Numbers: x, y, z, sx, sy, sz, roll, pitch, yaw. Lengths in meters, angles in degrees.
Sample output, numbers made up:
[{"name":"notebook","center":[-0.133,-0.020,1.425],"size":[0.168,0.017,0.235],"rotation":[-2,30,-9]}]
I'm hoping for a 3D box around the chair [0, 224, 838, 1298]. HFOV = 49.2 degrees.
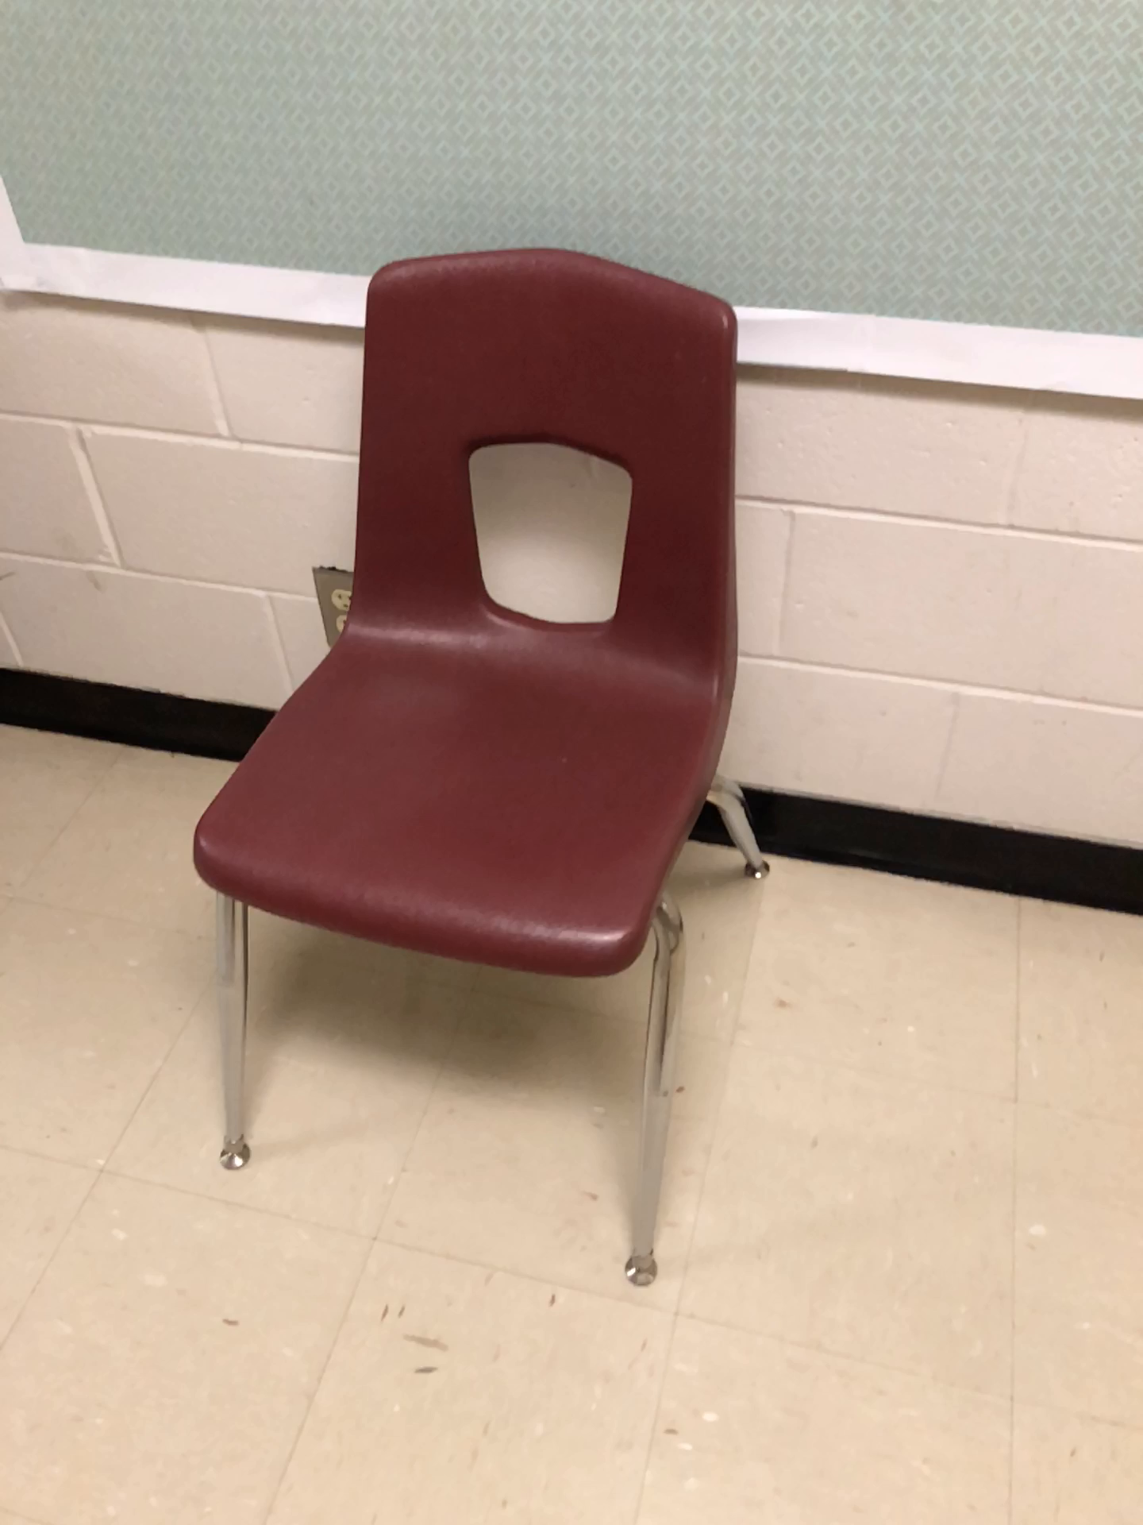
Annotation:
[{"name":"chair","center":[-0.093,-0.002,1.133],"size":[0.504,0.707,0.556],"rotation":[11,46,13]}]
